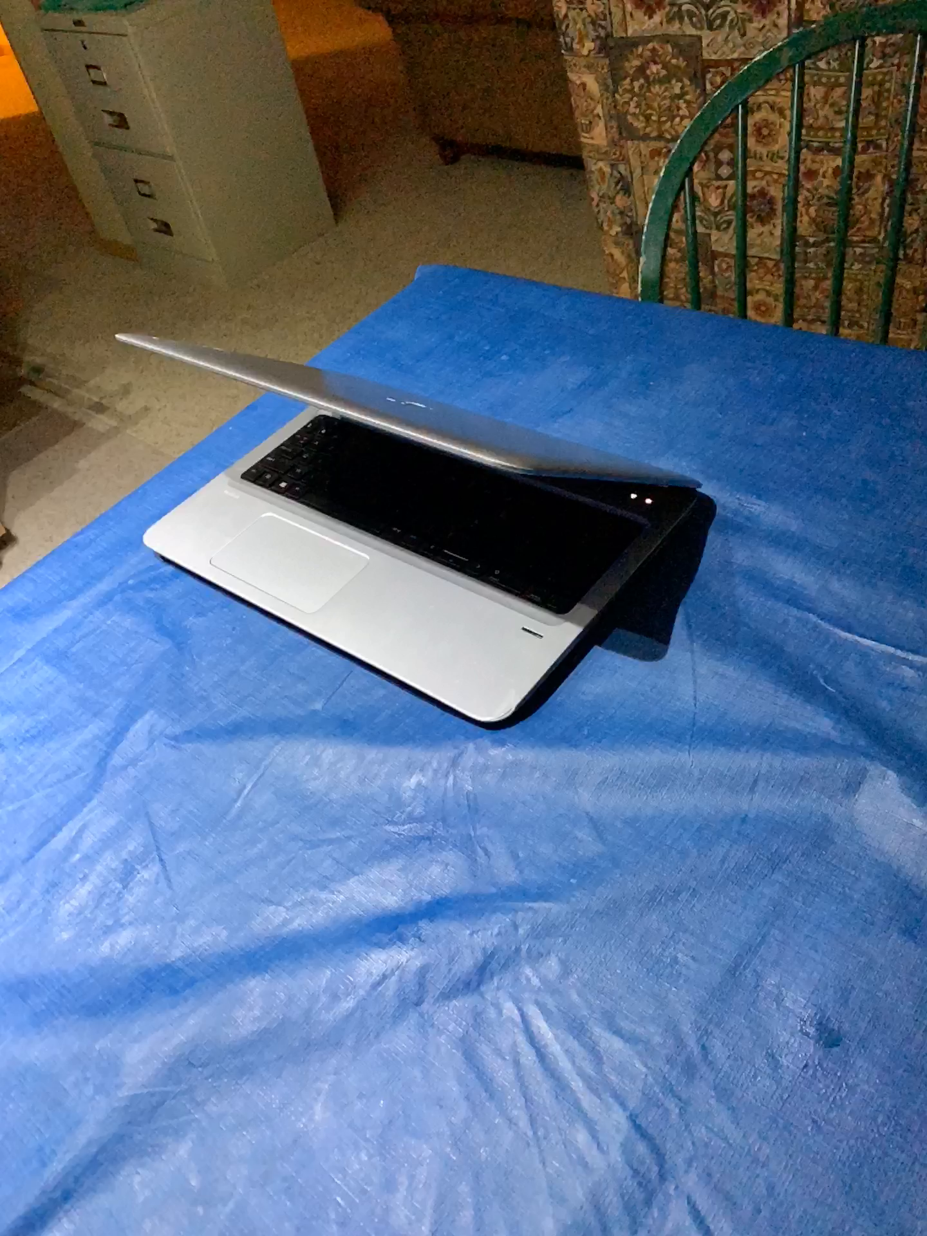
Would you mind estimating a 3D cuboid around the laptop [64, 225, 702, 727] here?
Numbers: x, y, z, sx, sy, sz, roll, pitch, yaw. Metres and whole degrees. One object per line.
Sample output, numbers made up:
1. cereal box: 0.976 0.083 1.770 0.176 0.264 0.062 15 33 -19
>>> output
1. laptop: -0.055 -0.131 0.684 0.366 0.156 0.254 24 56 34
